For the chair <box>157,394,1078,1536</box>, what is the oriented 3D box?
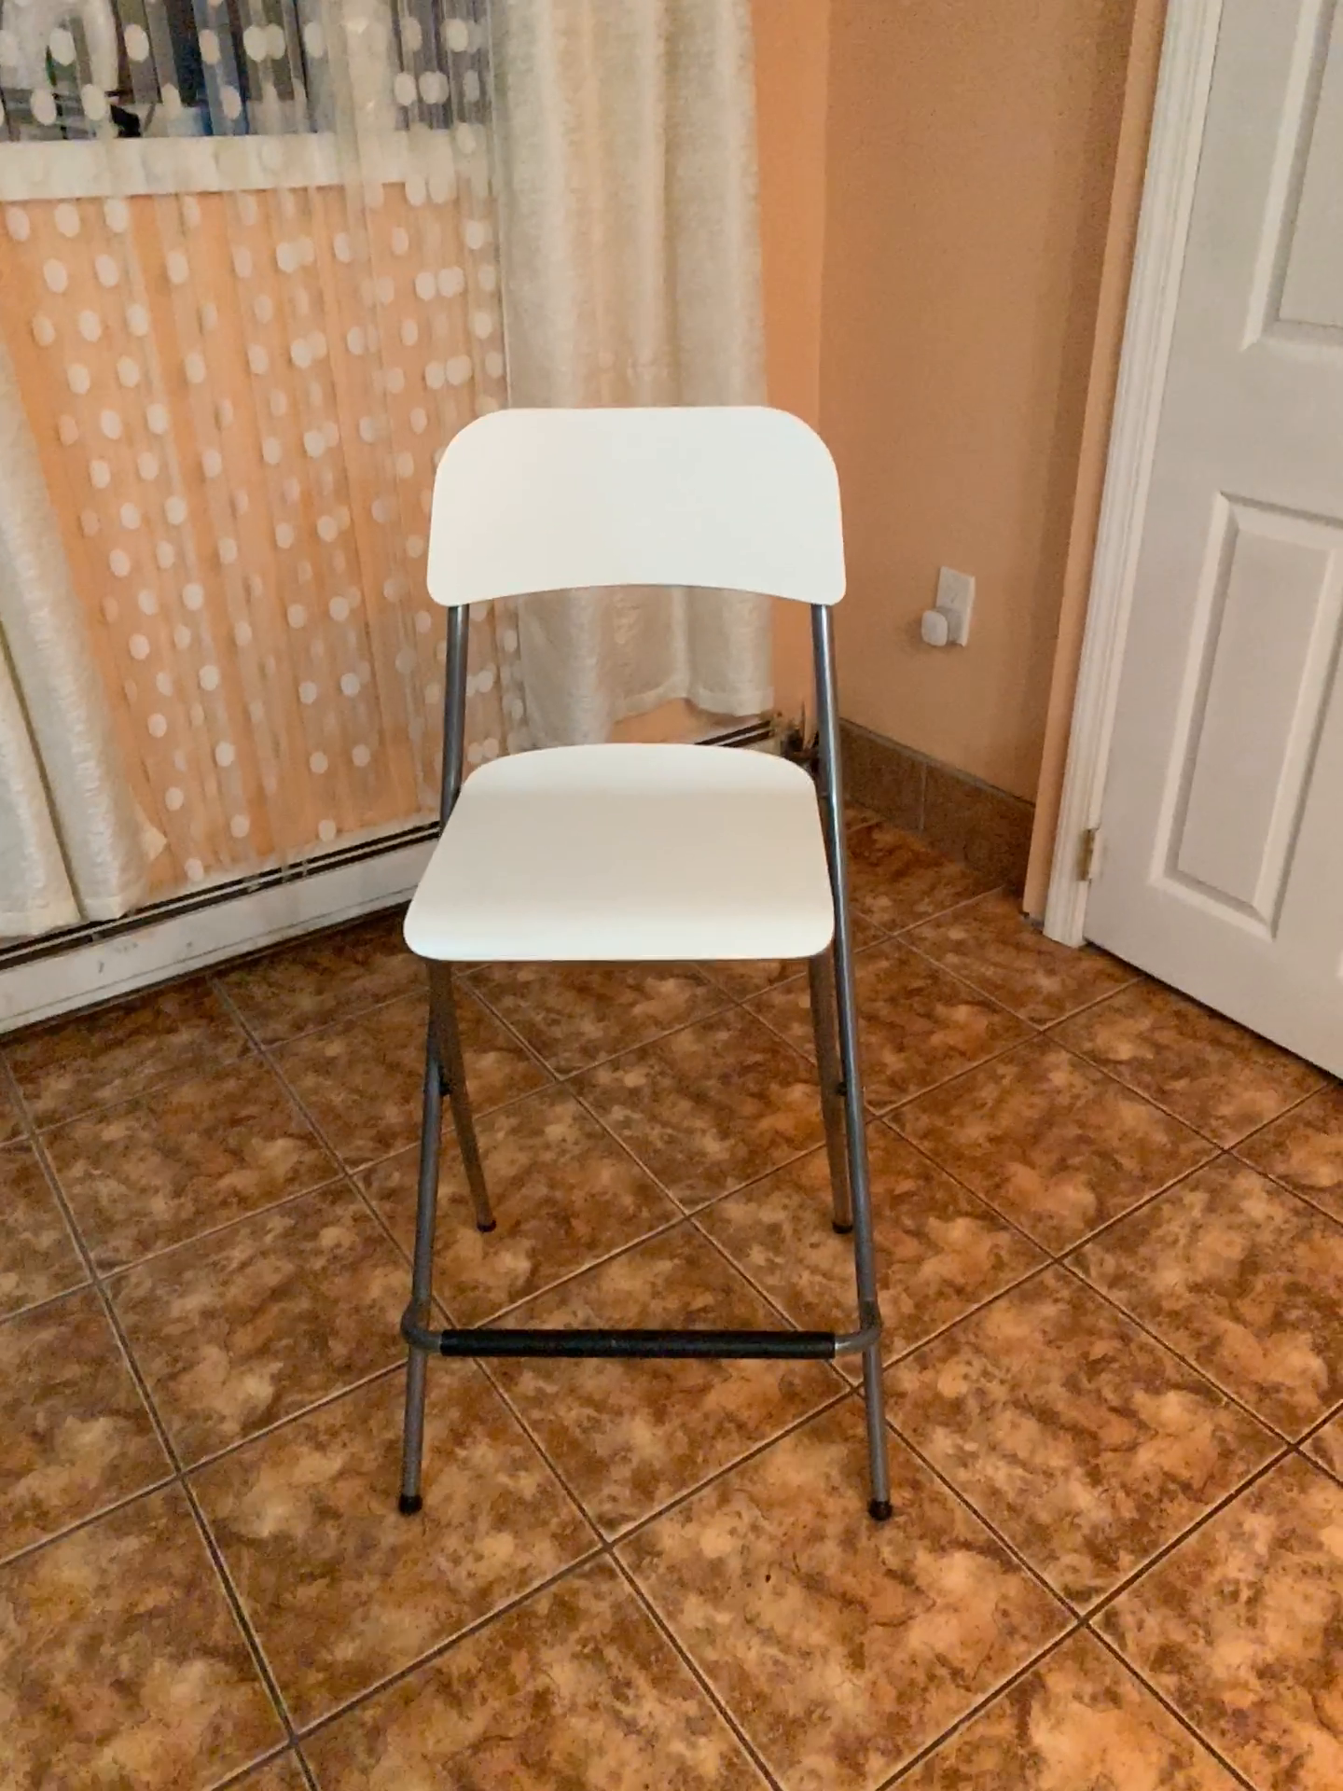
[{"bbox_3d":[-0.040,0.075,1.373,0.598,1.007,0.545,0,30,-1],"label":"chair"}]
